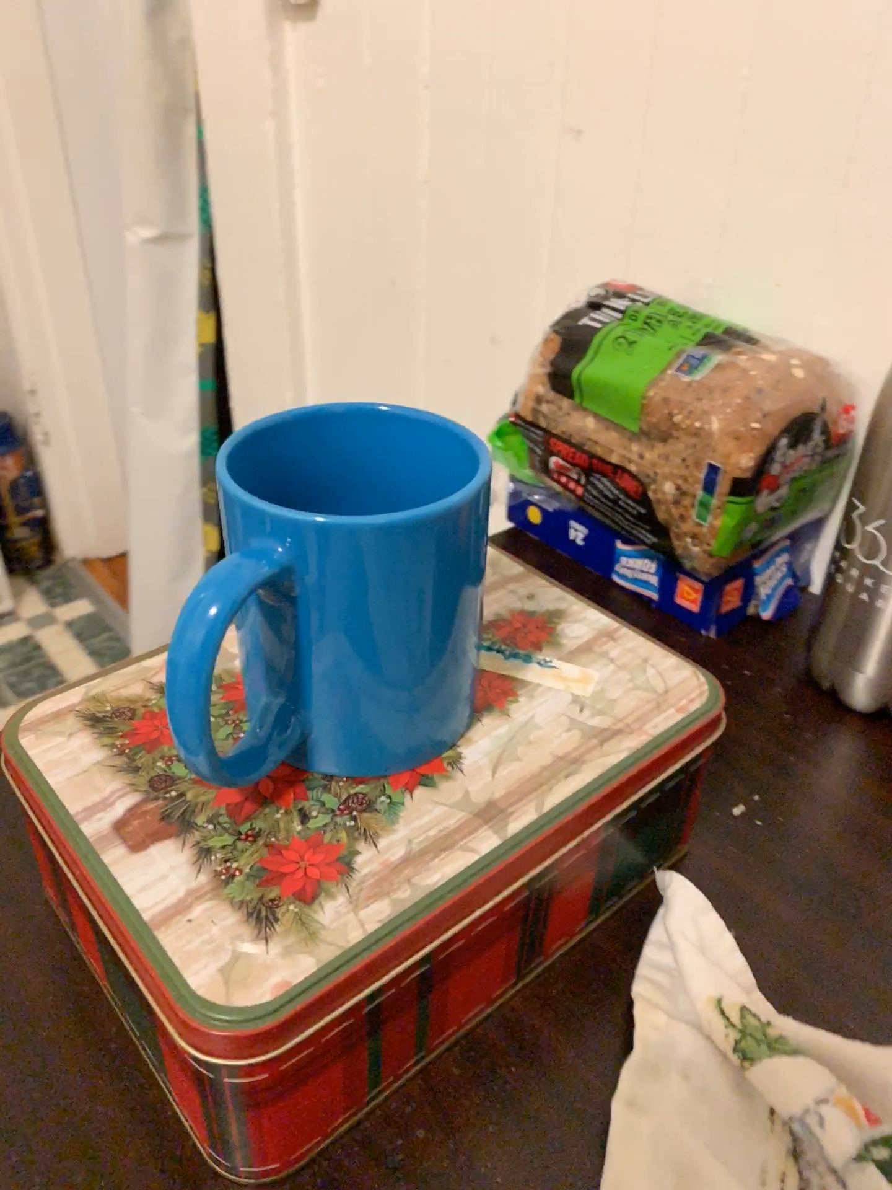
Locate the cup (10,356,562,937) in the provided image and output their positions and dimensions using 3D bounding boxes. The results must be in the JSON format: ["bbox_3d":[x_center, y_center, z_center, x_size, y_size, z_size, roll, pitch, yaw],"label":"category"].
[{"bbox_3d":[-0.035,0.003,0.278,0.090,0.099,0.130,17,36,21],"label":"cup"}]
